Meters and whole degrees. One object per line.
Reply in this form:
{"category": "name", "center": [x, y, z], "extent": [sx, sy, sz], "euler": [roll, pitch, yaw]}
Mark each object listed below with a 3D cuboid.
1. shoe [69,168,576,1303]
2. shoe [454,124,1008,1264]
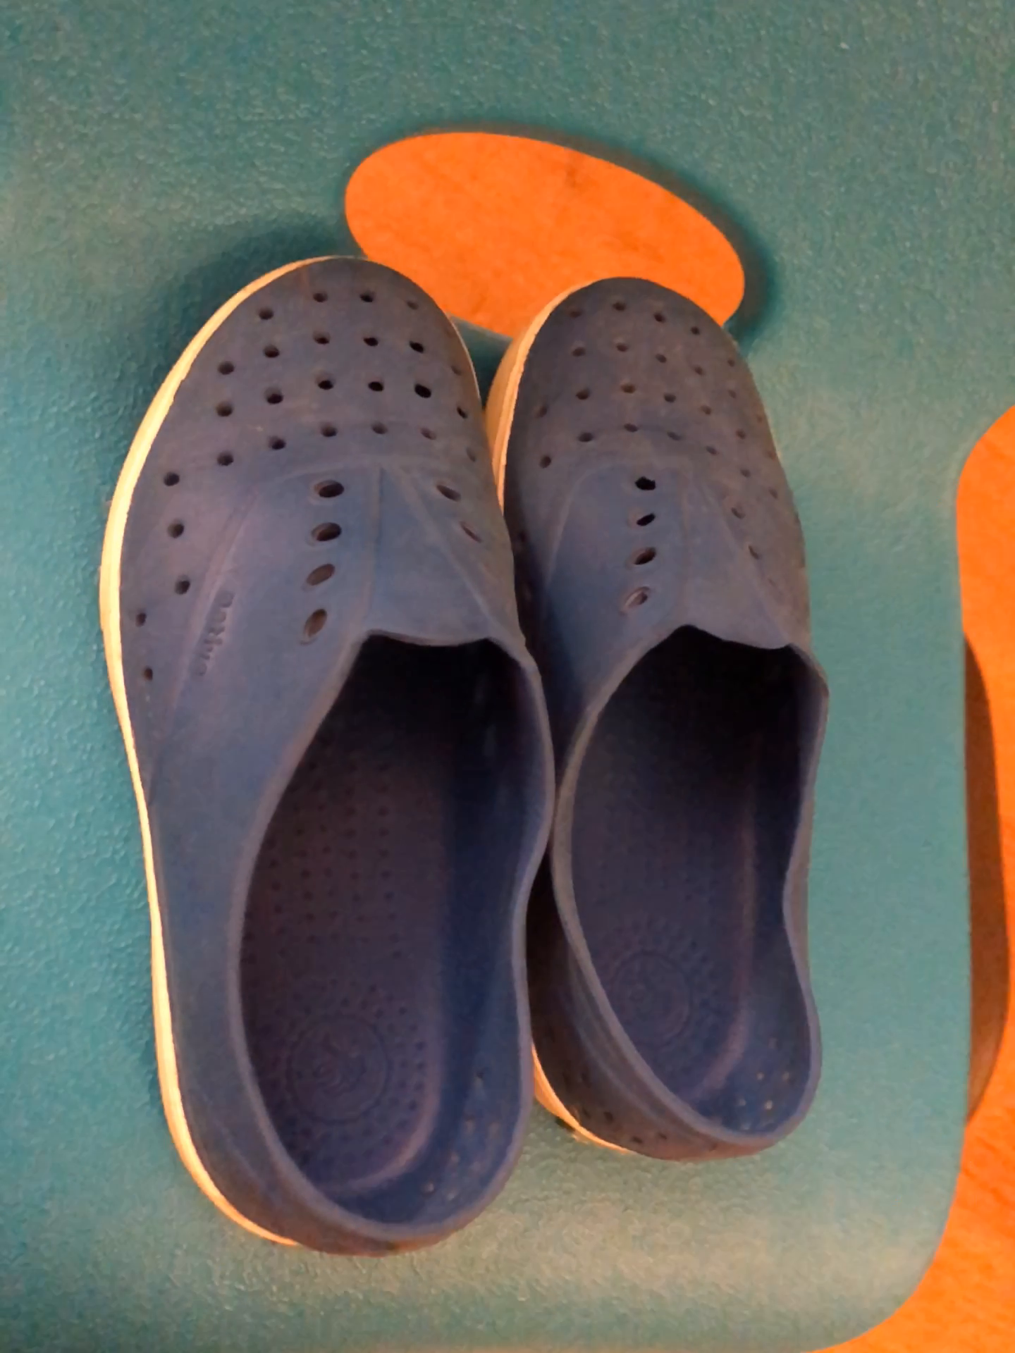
{"category": "shoe", "center": [-0.046, 0.010, 0.259], "extent": [0.090, 0.080, 0.210], "euler": [3, 77, -22]}
{"category": "shoe", "center": [0.047, 0.001, 0.283], "extent": [0.100, 0.070, 0.240], "euler": [3, 77, -22]}
